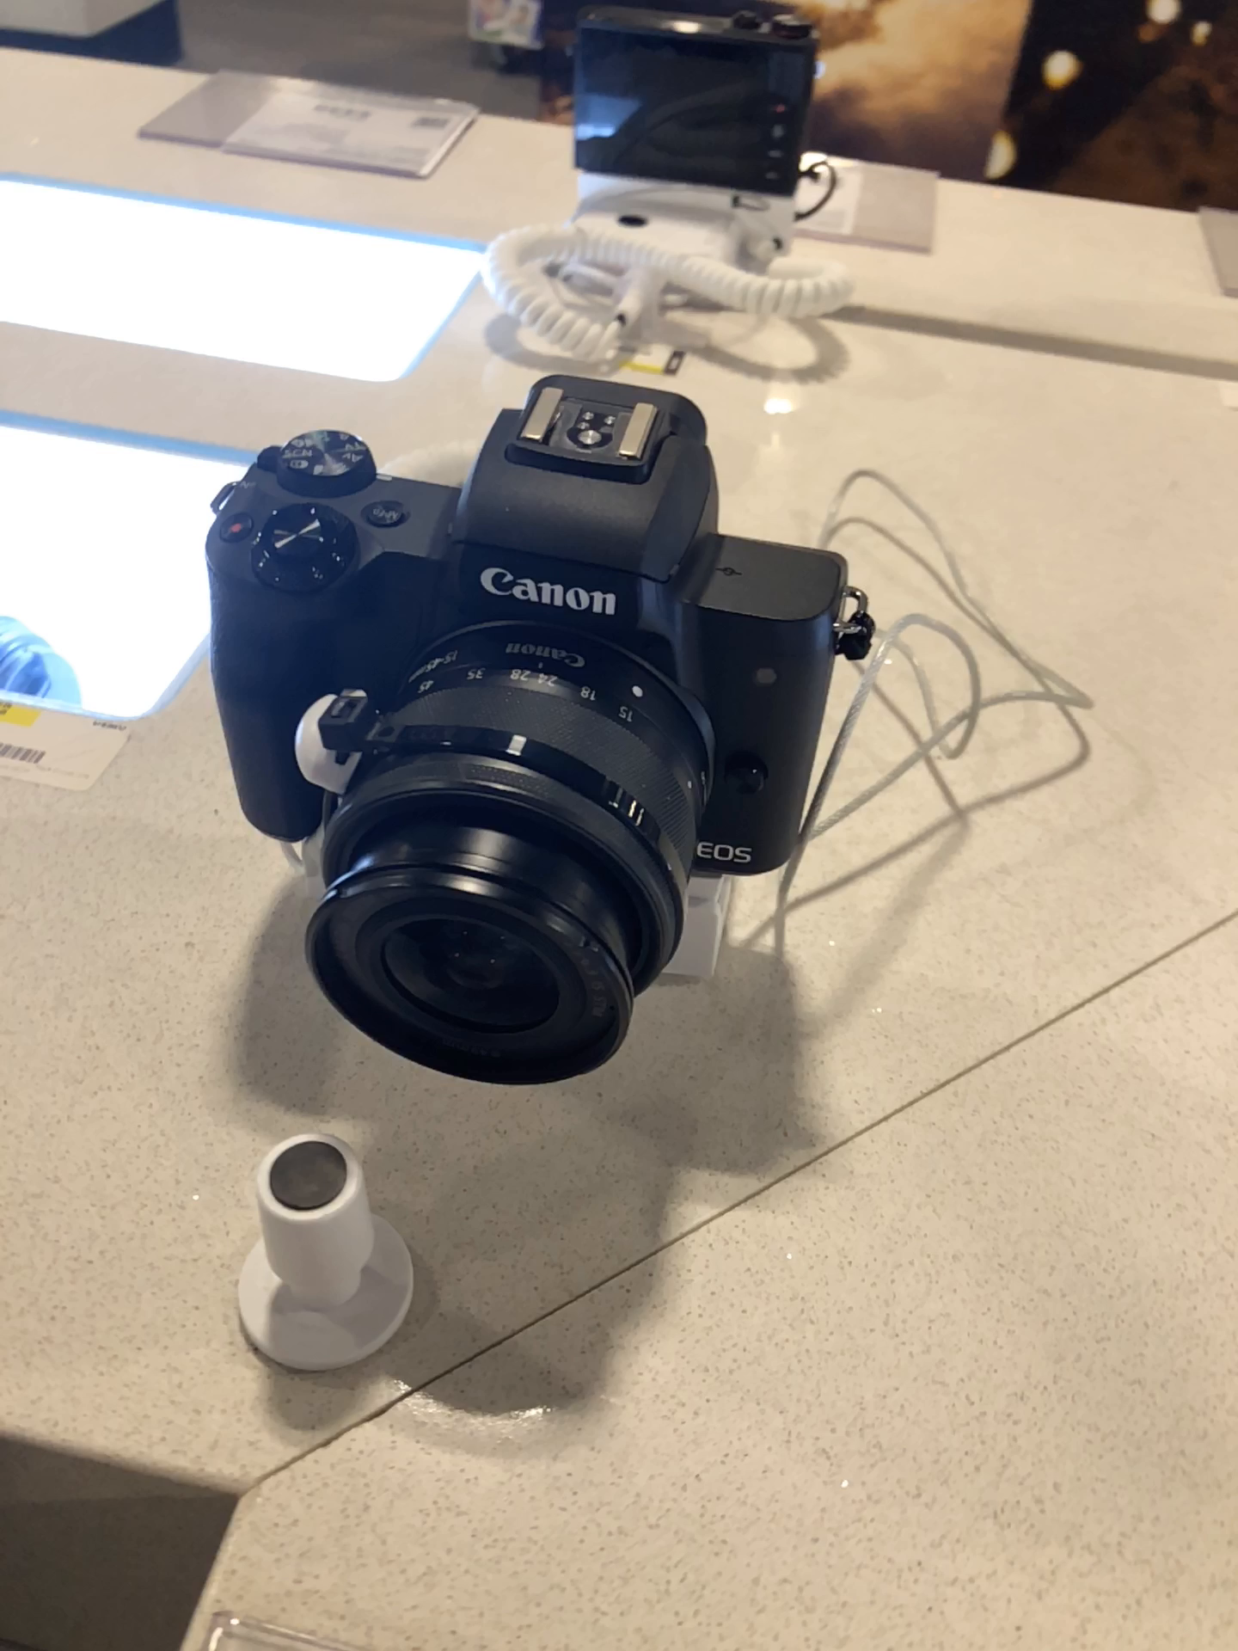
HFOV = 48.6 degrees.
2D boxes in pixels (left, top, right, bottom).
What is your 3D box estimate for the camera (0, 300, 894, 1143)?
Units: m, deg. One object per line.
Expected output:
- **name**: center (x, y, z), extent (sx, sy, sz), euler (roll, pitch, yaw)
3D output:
- **camera**: center (-0.024, -0.027, 0.256), extent (0.130, 0.079, 0.121), euler (10, 43, 6)
